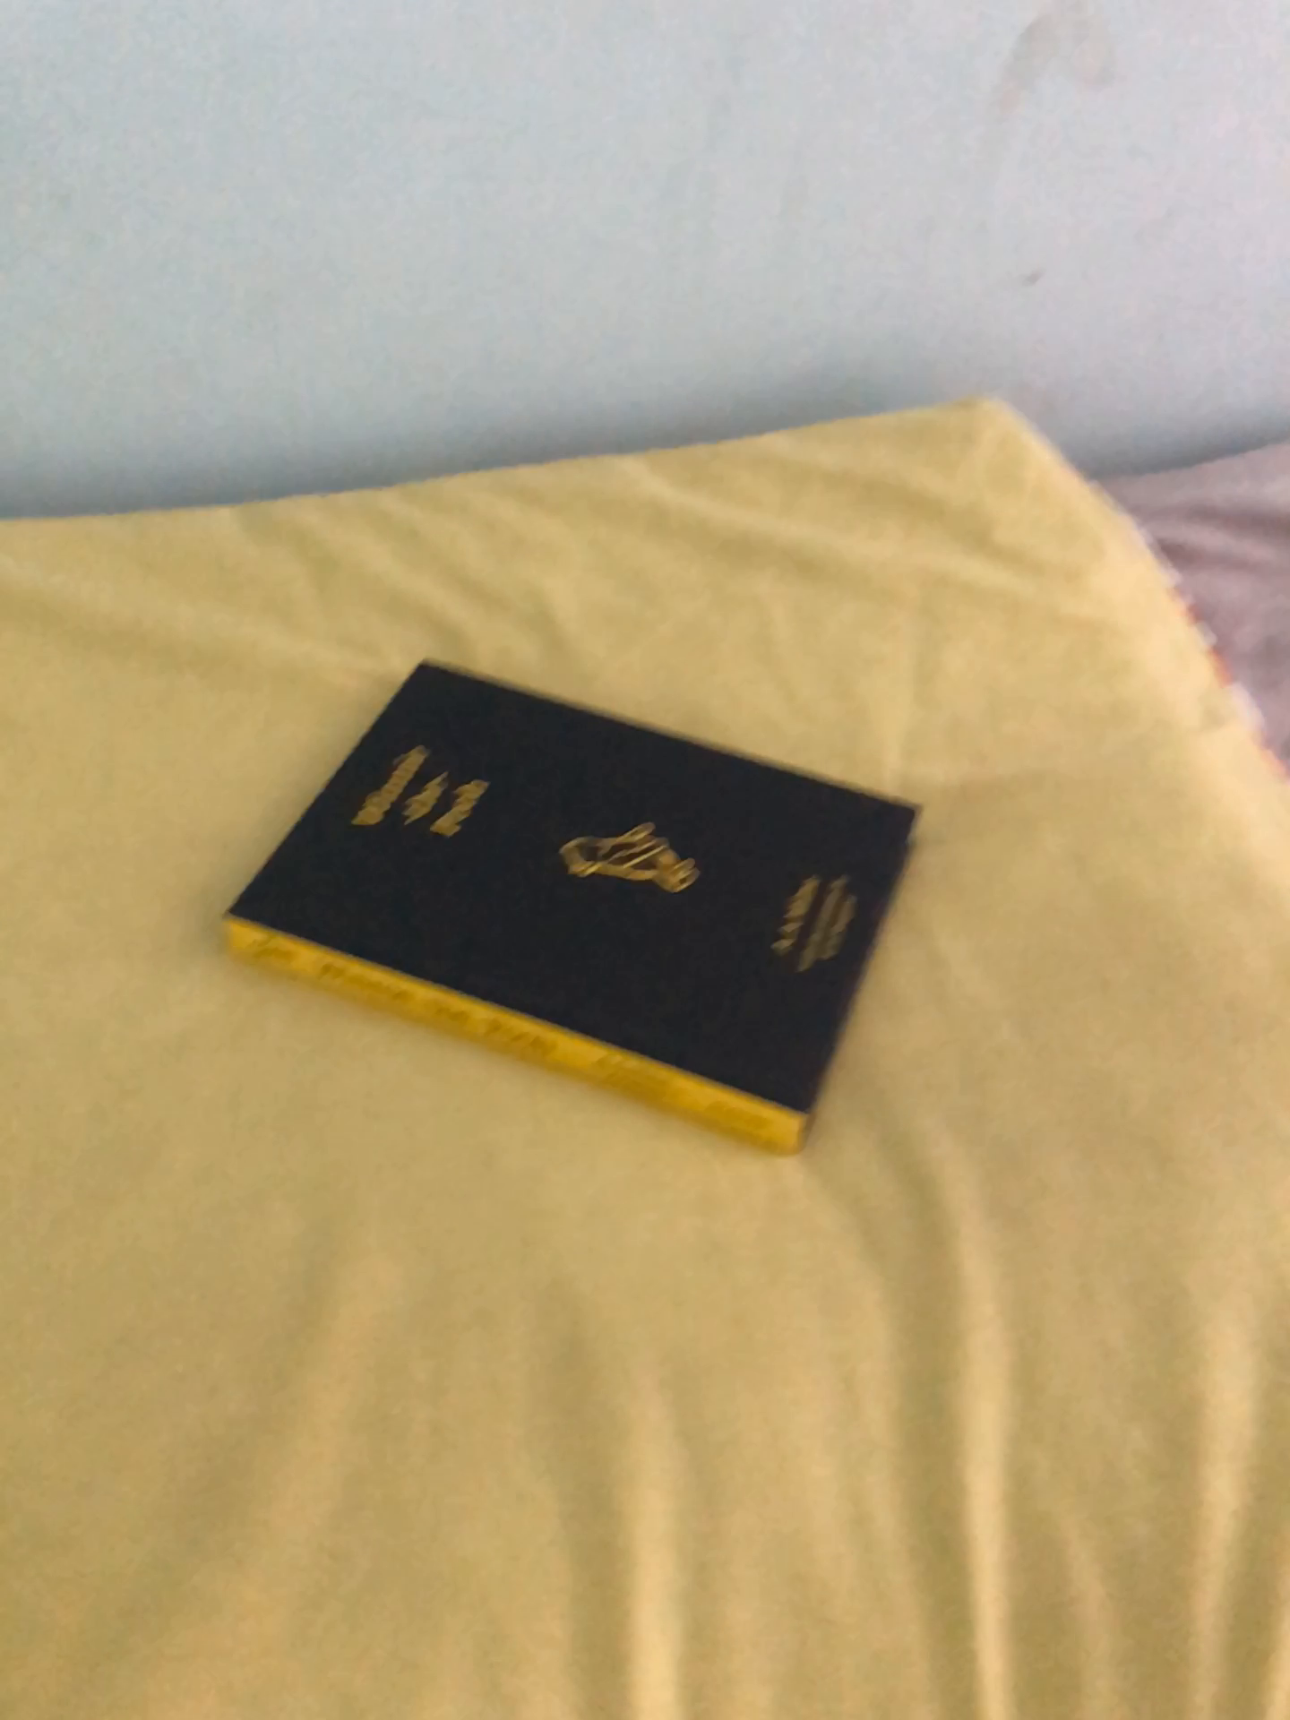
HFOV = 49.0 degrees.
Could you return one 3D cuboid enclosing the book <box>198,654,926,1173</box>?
[{"bbox_3d":[-0.025,0.008,0.520,0.220,0.020,0.151,19,51,13],"label":"book"}]
